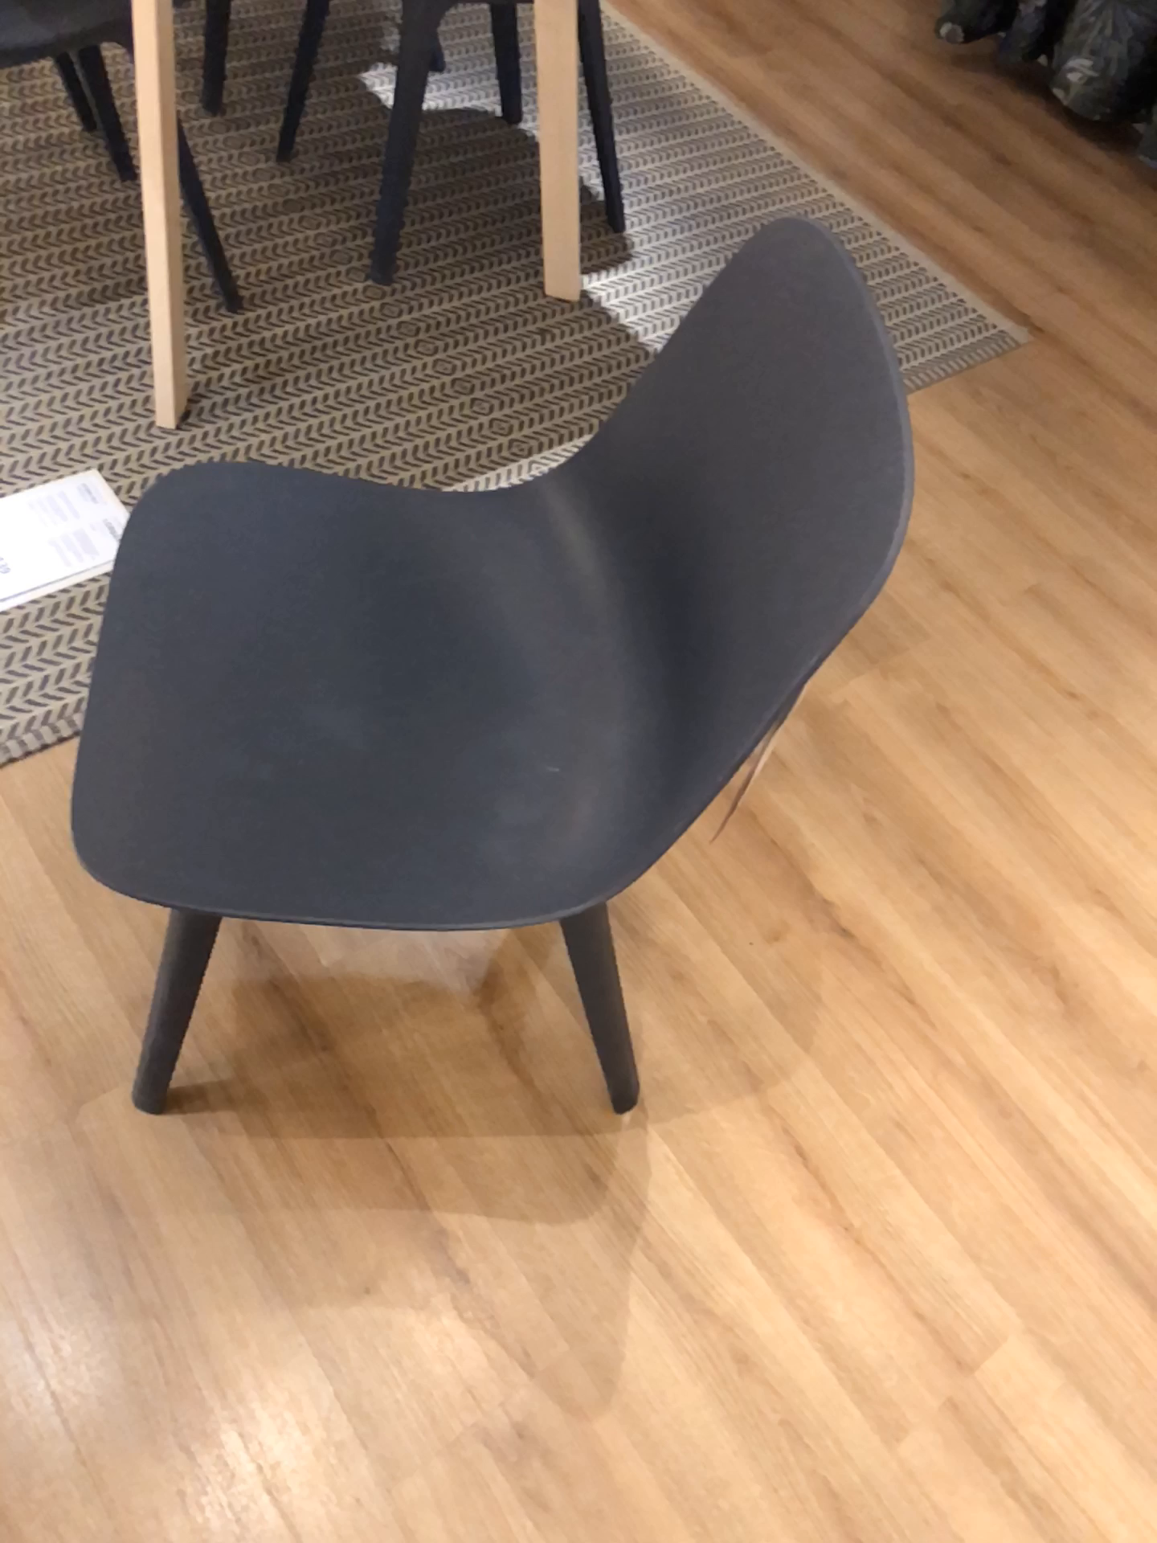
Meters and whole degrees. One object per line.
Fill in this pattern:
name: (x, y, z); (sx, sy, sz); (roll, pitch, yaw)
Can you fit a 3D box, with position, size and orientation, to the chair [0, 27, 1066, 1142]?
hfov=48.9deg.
chair: (-0.105, -0.062, 1.018); (0.560, 0.728, 0.471); (3, 54, -10)
